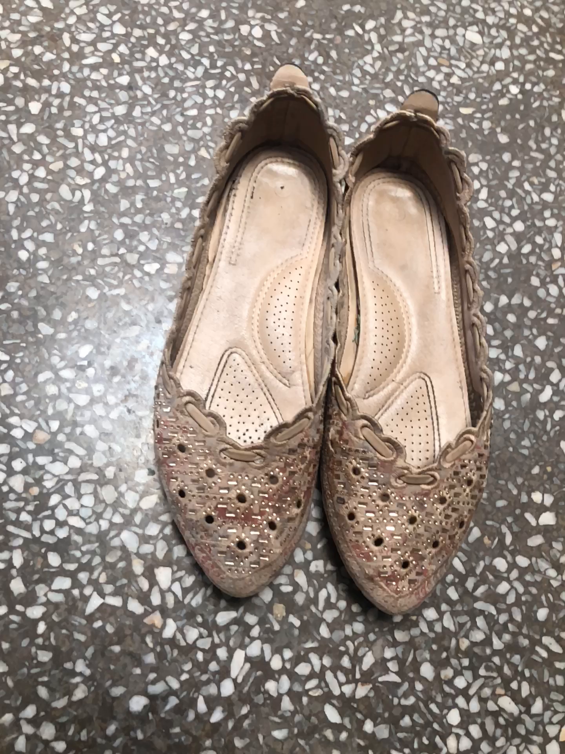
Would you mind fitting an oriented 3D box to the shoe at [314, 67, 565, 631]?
[{"bbox_3d":[0.067,-0.016,0.309,0.089,0.068,0.254,4,74,-8],"label":"shoe"}]

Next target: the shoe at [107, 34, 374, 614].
[{"bbox_3d":[-0.014,-0.028,0.303,0.089,0.068,0.254,7,73,-7],"label":"shoe"}]
